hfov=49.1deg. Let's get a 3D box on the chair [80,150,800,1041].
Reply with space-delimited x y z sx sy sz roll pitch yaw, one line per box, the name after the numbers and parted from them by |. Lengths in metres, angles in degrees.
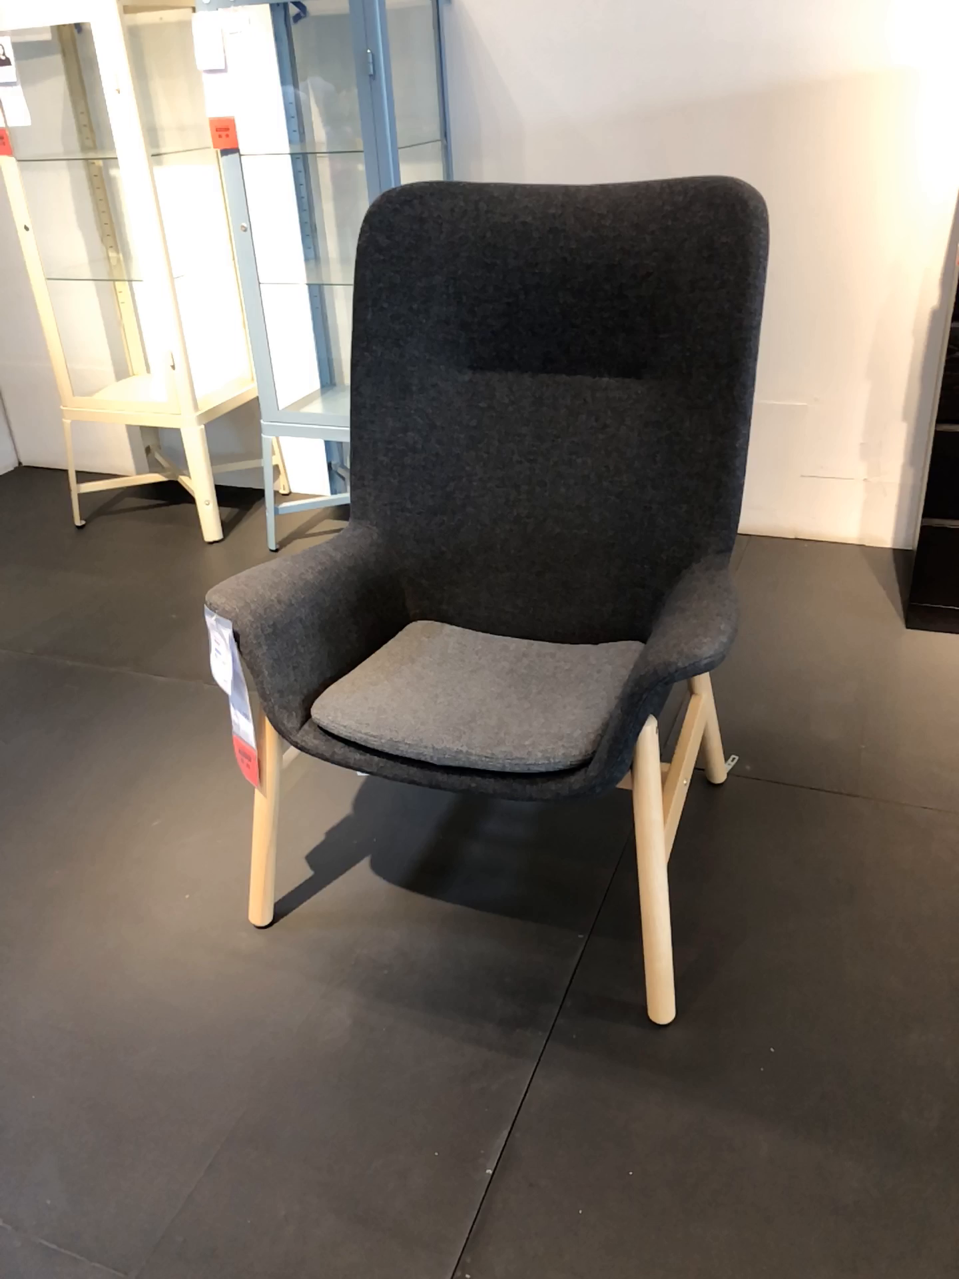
0.036 -0.127 1.615 0.721 1.063 0.714 7 30 20 | chair
